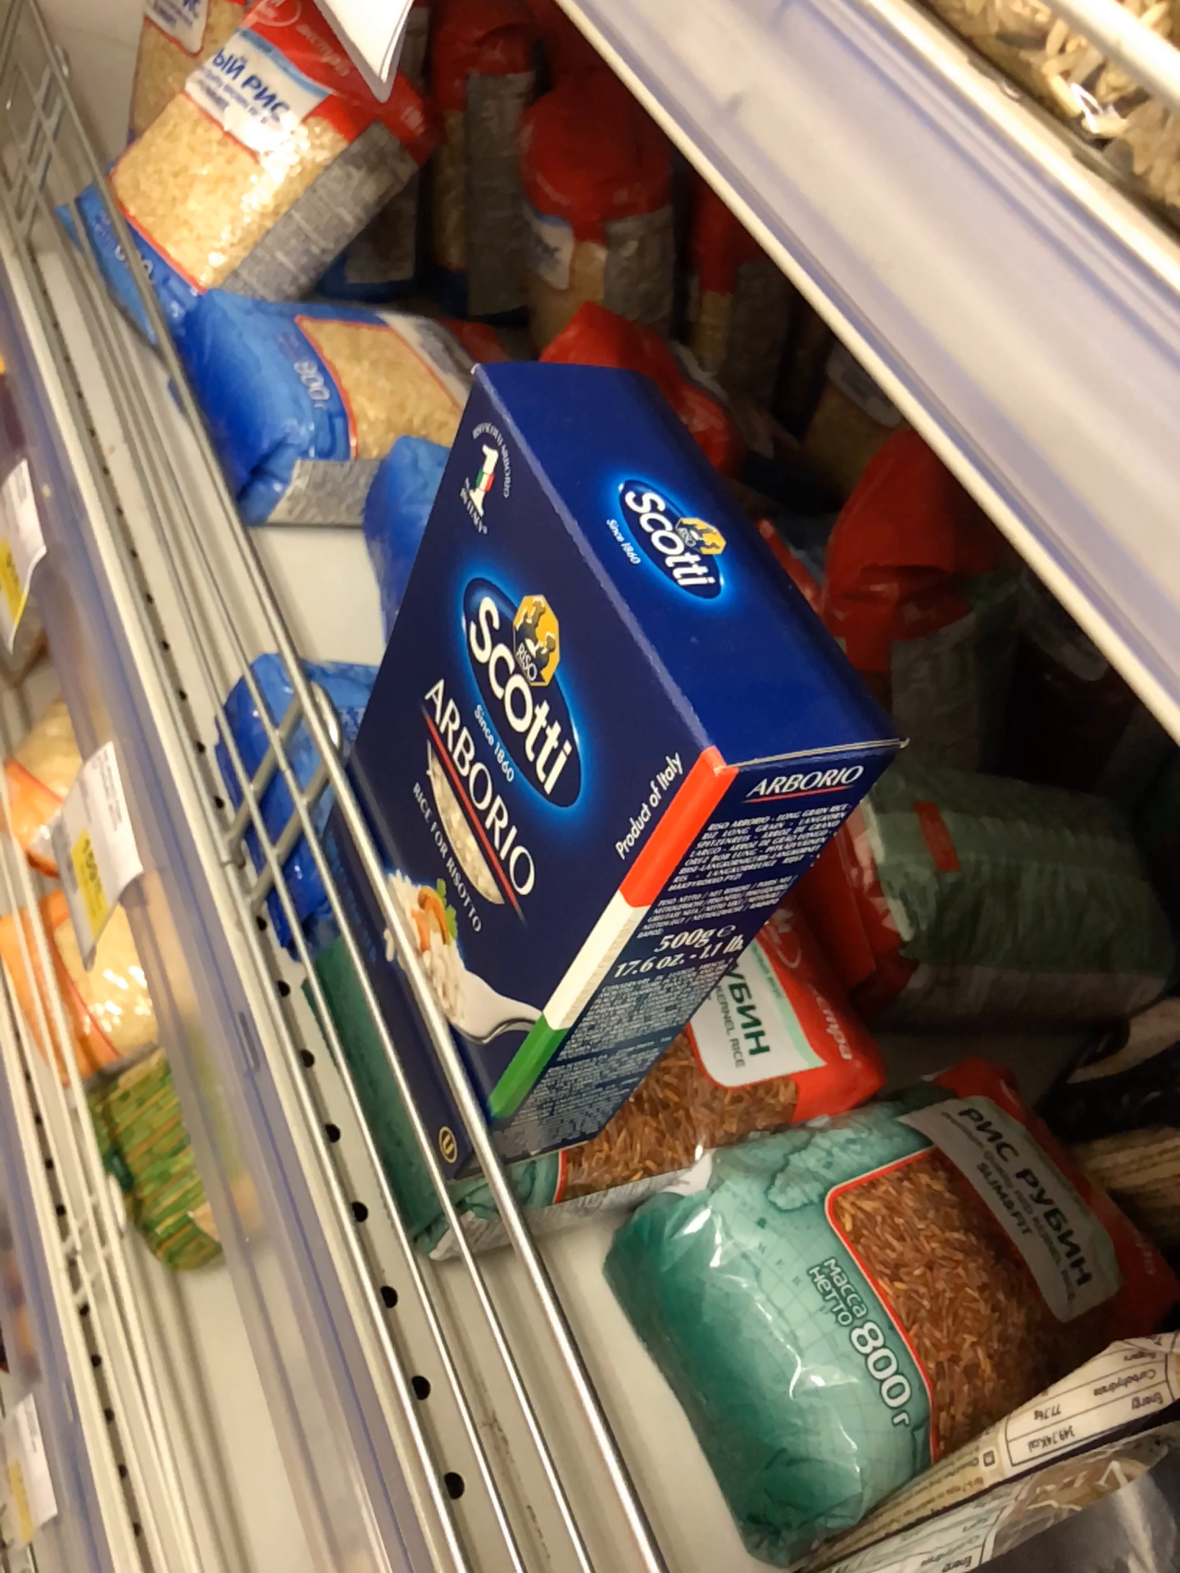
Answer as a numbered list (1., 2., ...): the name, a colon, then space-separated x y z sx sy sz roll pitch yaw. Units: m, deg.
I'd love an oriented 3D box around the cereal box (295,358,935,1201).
1. cereal box: -0.011 0.004 0.304 0.050 0.159 0.110 -6 53 -33
